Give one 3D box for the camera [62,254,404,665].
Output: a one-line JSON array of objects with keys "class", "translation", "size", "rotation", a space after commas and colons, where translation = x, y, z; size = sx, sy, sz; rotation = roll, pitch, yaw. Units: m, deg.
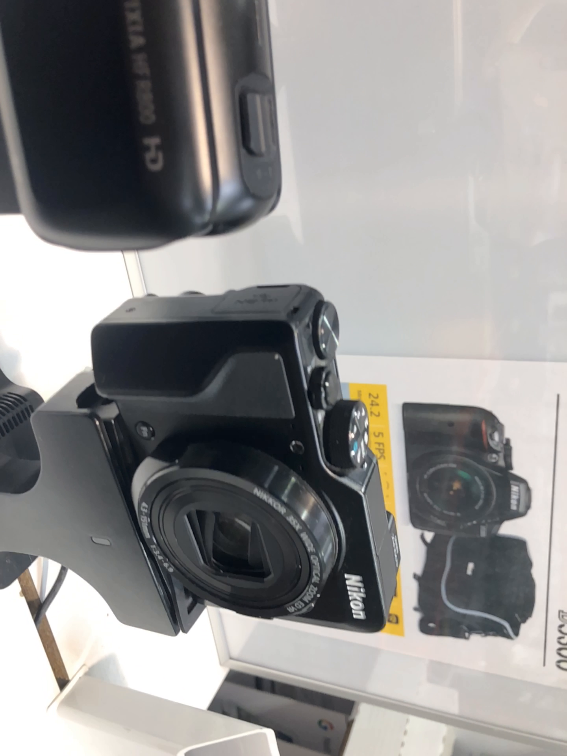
[{"class": "camera", "translation": [-0.005, 0.028, 0.191], "size": [0.044, 0.069, 0.117], "rotation": [-66, 150, -51]}]
